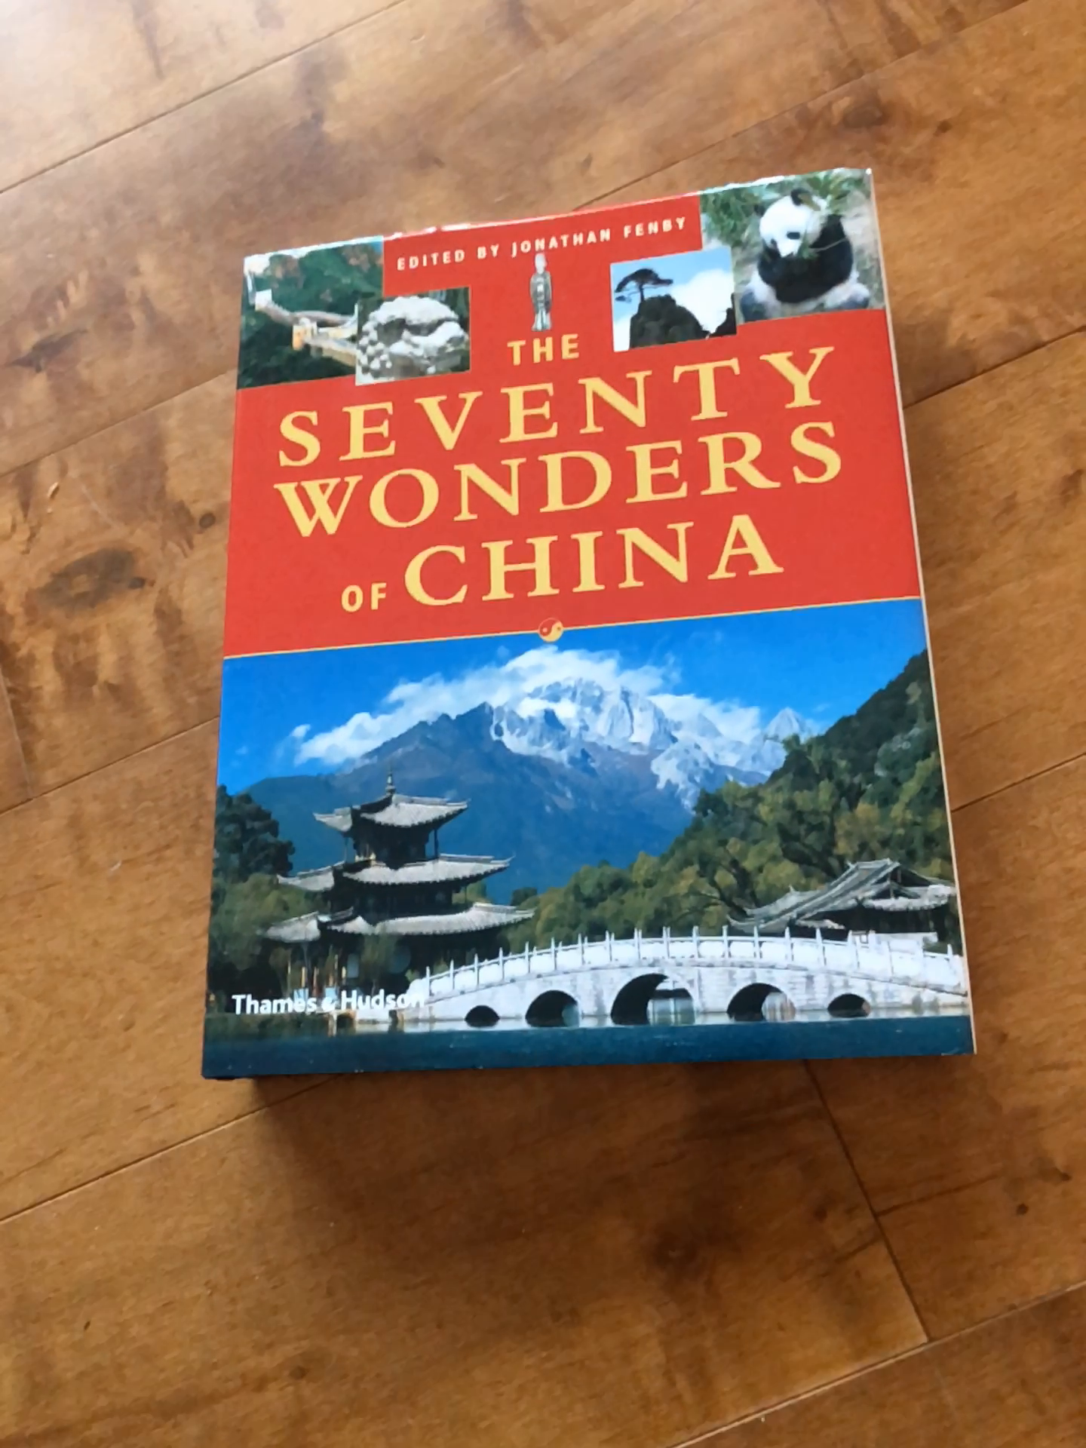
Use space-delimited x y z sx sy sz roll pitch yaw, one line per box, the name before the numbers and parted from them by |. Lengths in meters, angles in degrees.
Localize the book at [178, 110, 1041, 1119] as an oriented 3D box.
book | 0.010 -0.035 0.369 0.220 0.050 0.290 -5 73 9
